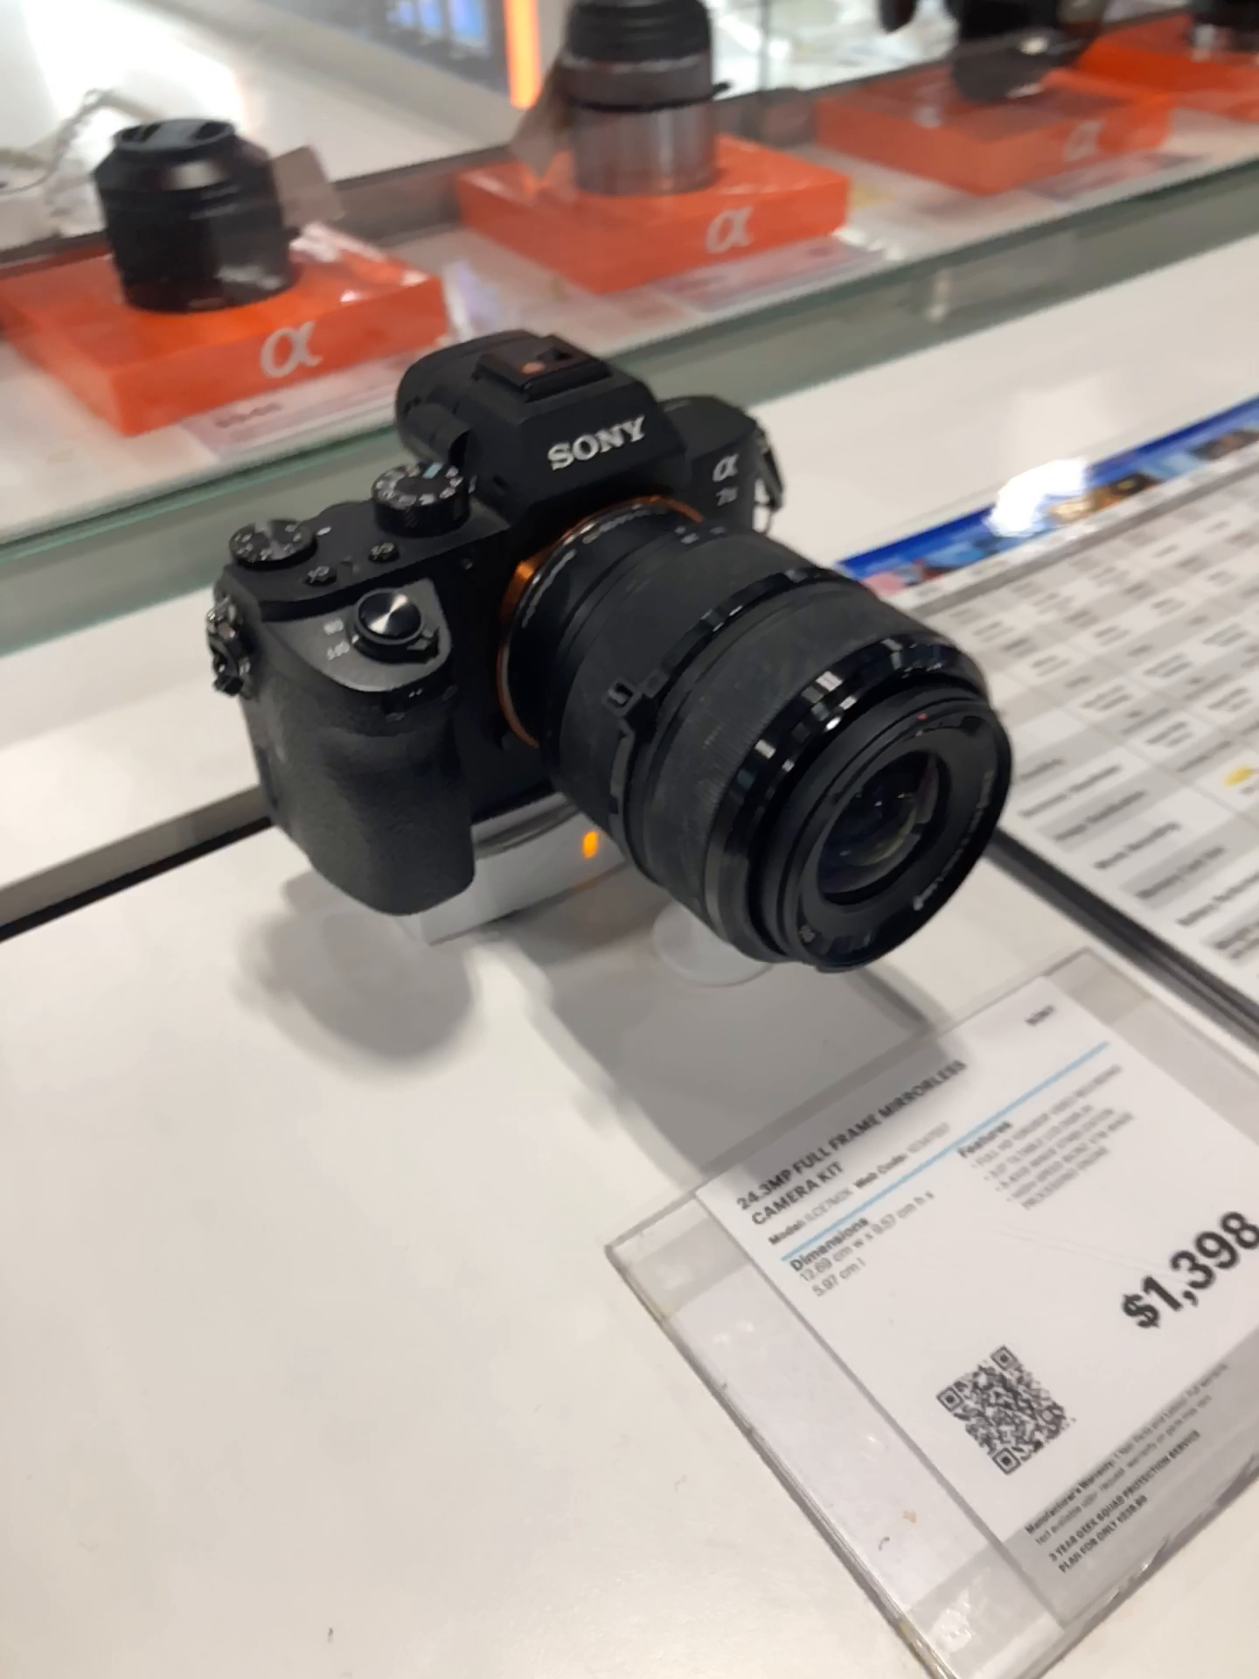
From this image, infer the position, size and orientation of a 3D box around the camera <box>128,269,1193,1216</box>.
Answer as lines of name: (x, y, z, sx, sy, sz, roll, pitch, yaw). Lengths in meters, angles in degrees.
camera: (0.002, -0.034, 0.277, 0.130, 0.089, 0.141, -28, 48, -27)
